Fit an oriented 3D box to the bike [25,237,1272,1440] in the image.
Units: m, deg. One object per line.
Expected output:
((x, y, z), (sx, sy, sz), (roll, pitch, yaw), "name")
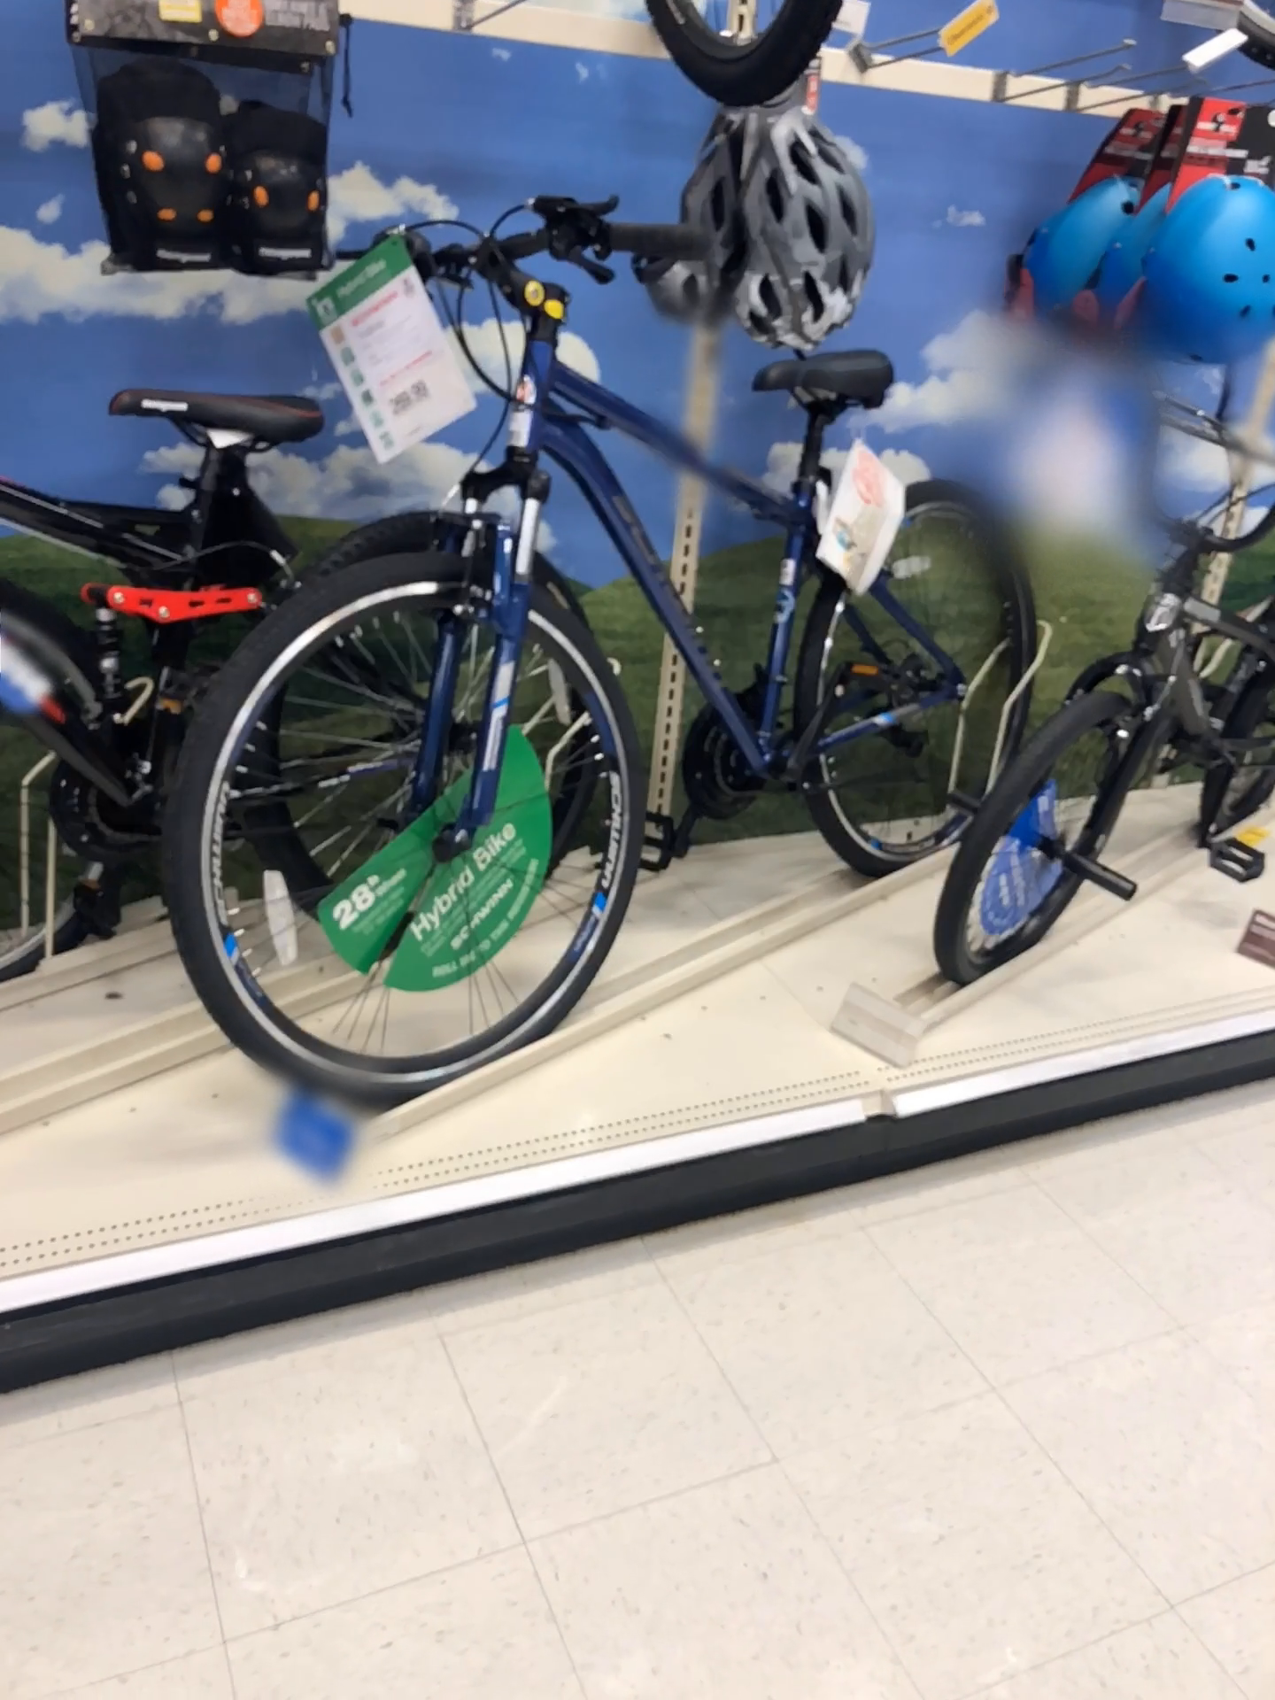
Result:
((0.145, -0.231, 1.989), (0.531, 1.098, 1.742), (27, 35, 37), "bike")
